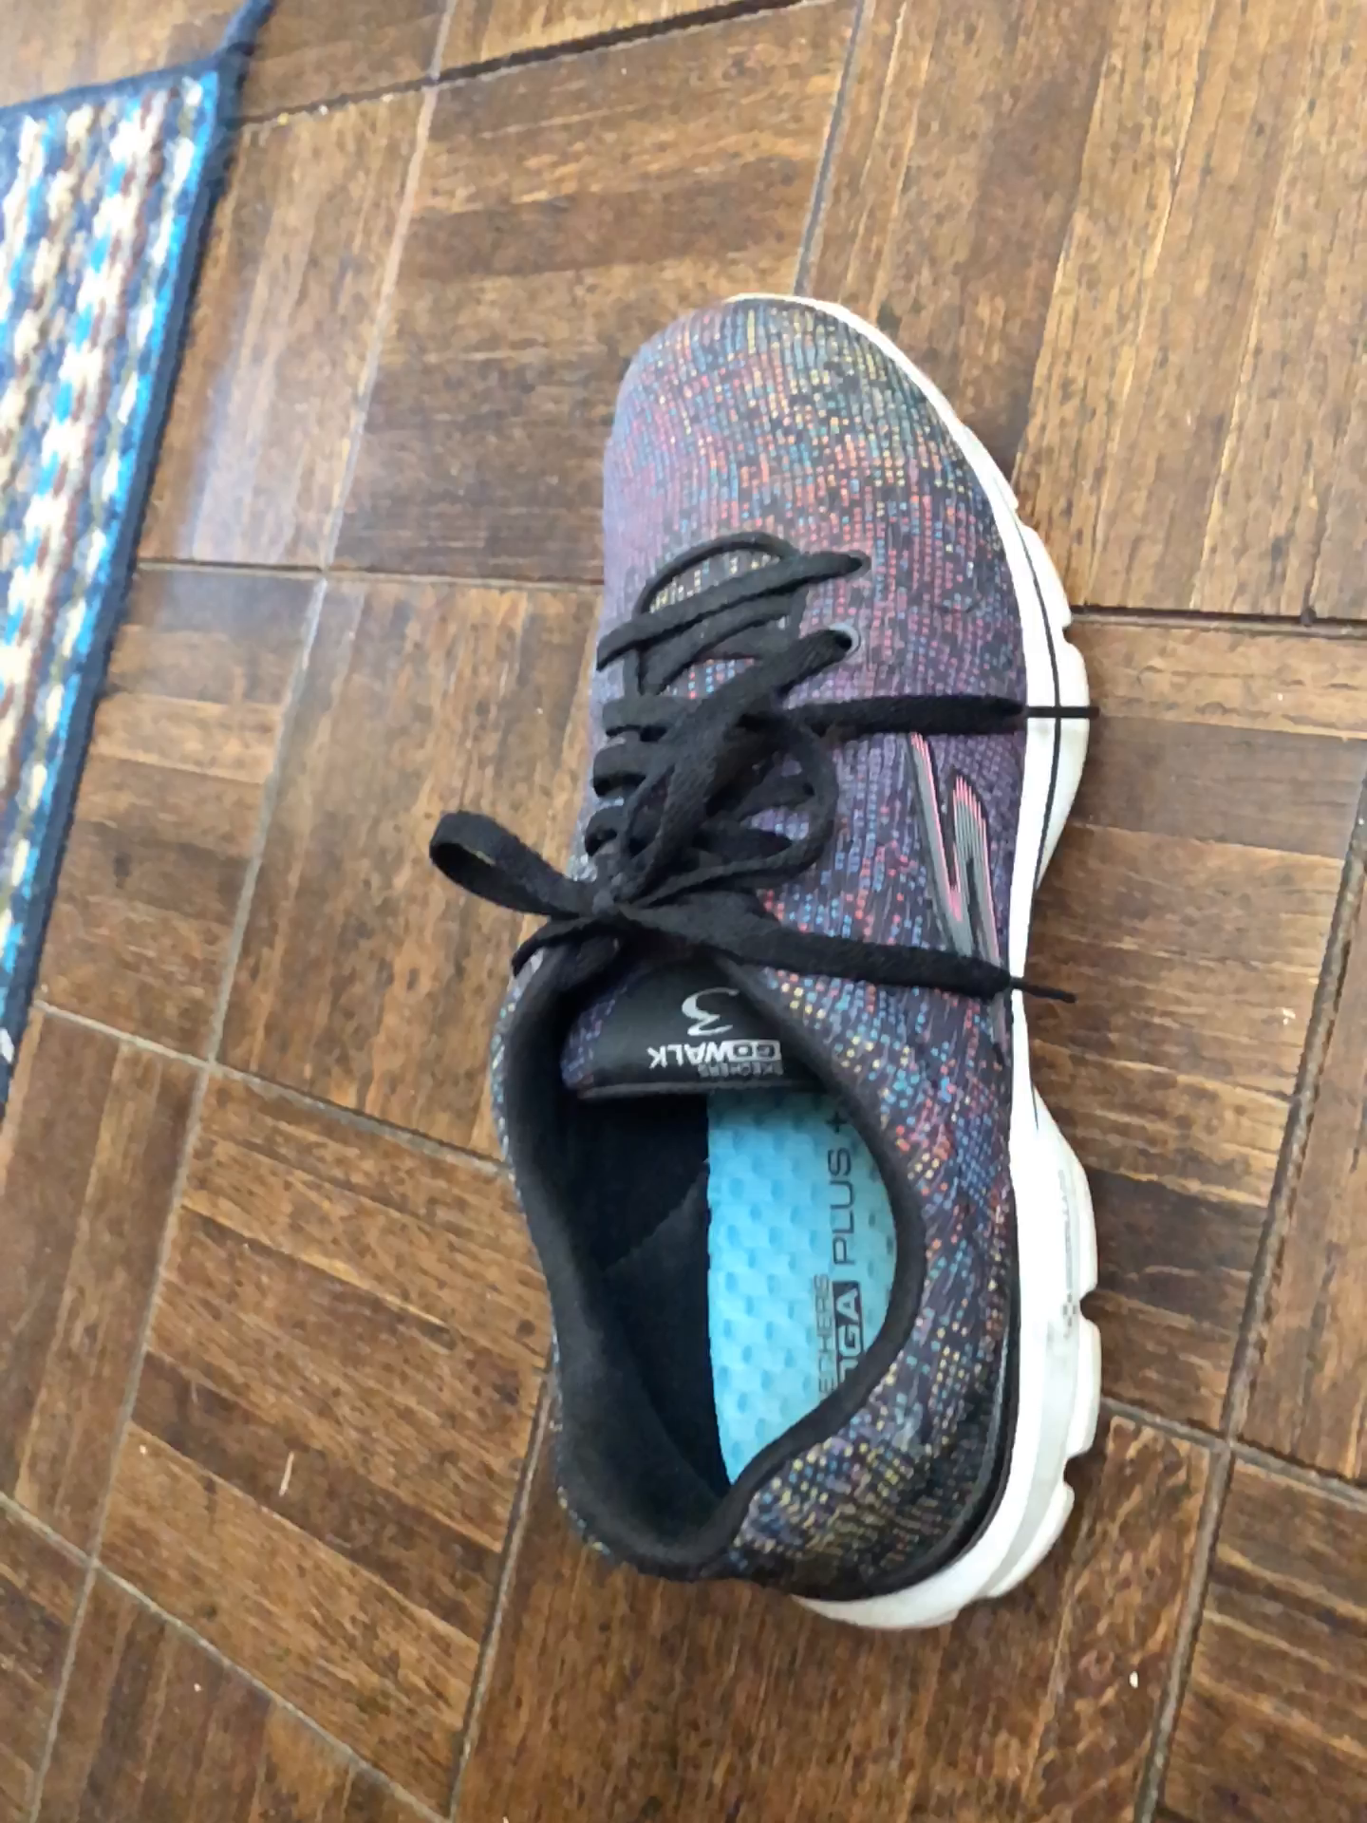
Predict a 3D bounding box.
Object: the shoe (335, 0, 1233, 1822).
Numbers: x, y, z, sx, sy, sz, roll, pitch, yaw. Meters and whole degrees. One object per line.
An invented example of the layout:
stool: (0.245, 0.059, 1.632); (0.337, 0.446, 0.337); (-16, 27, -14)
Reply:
shoe: (0.020, -0.004, 0.293); (0.110, 0.120, 0.290); (-8, 77, 34)
